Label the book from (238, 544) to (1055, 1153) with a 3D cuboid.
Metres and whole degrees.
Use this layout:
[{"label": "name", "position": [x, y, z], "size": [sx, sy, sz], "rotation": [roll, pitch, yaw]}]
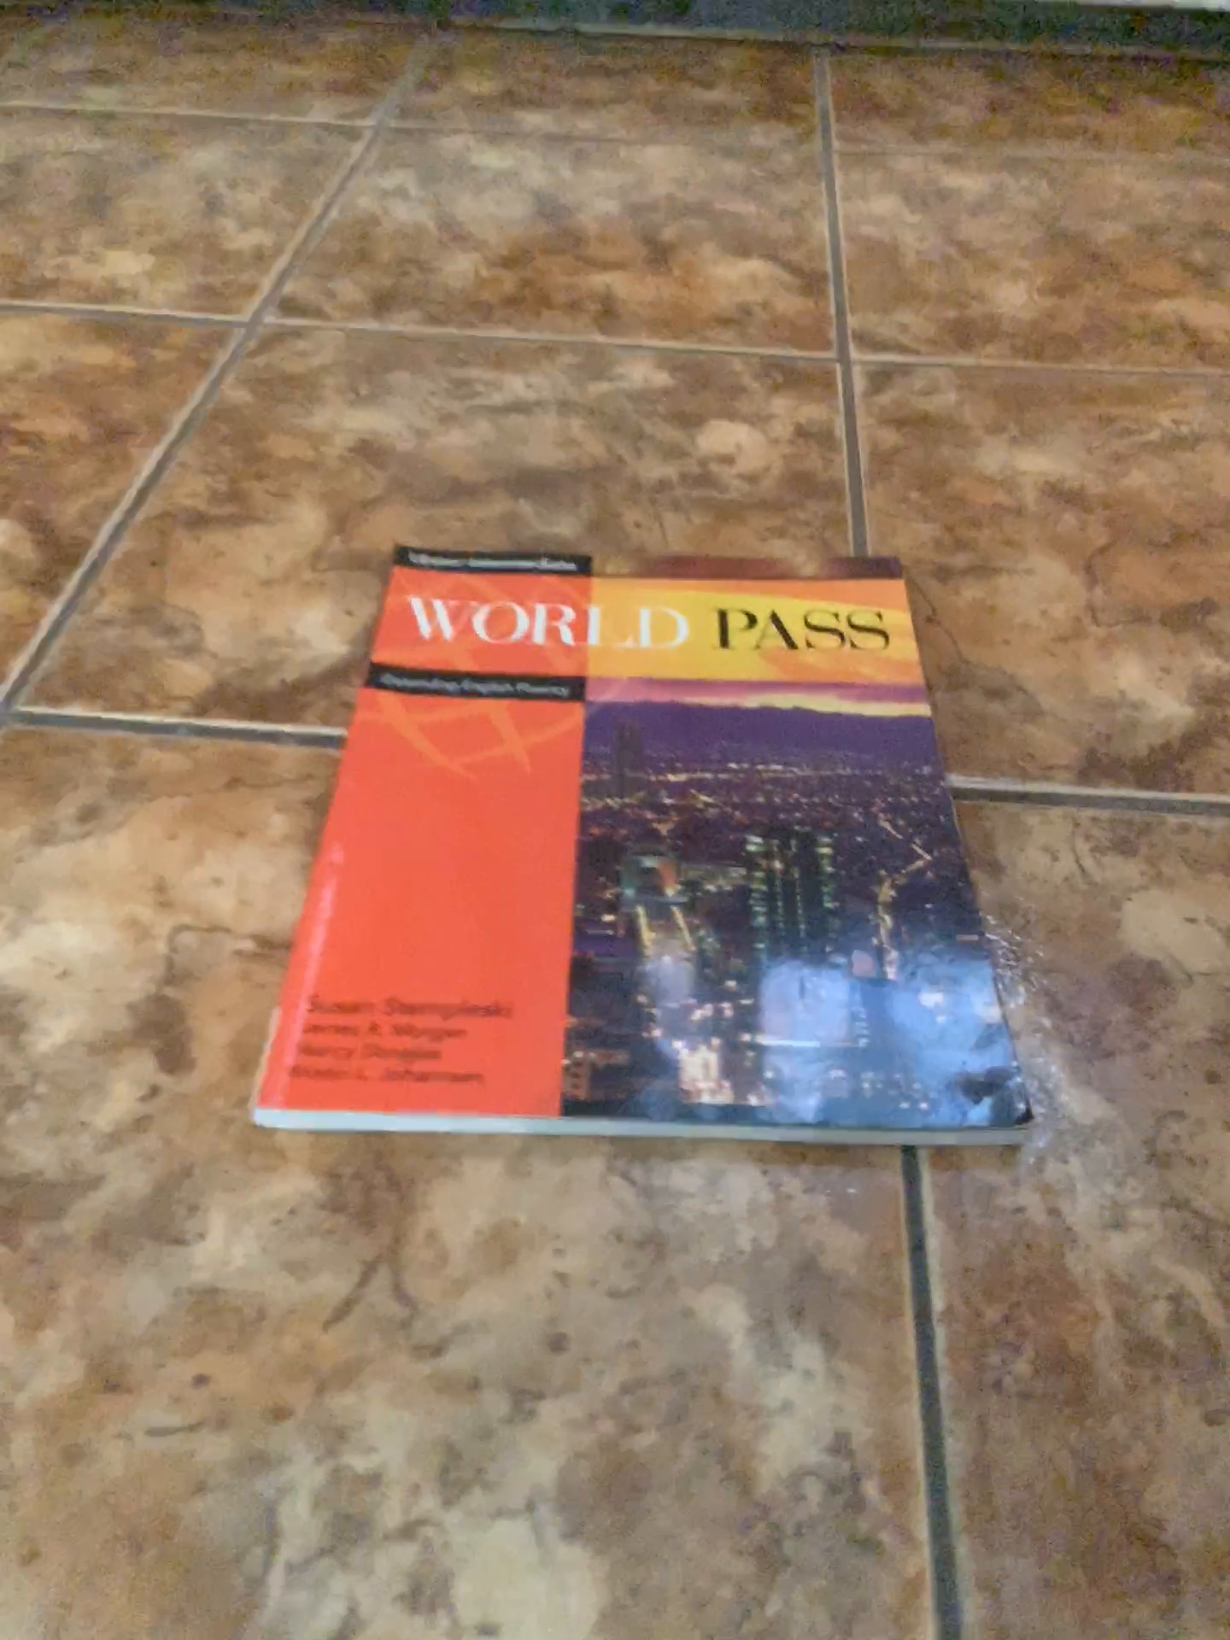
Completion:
[{"label": "book", "position": [0.011, -0.012, 0.436], "size": [0.219, 0.016, 0.273], "rotation": [1, 45, 0]}]
